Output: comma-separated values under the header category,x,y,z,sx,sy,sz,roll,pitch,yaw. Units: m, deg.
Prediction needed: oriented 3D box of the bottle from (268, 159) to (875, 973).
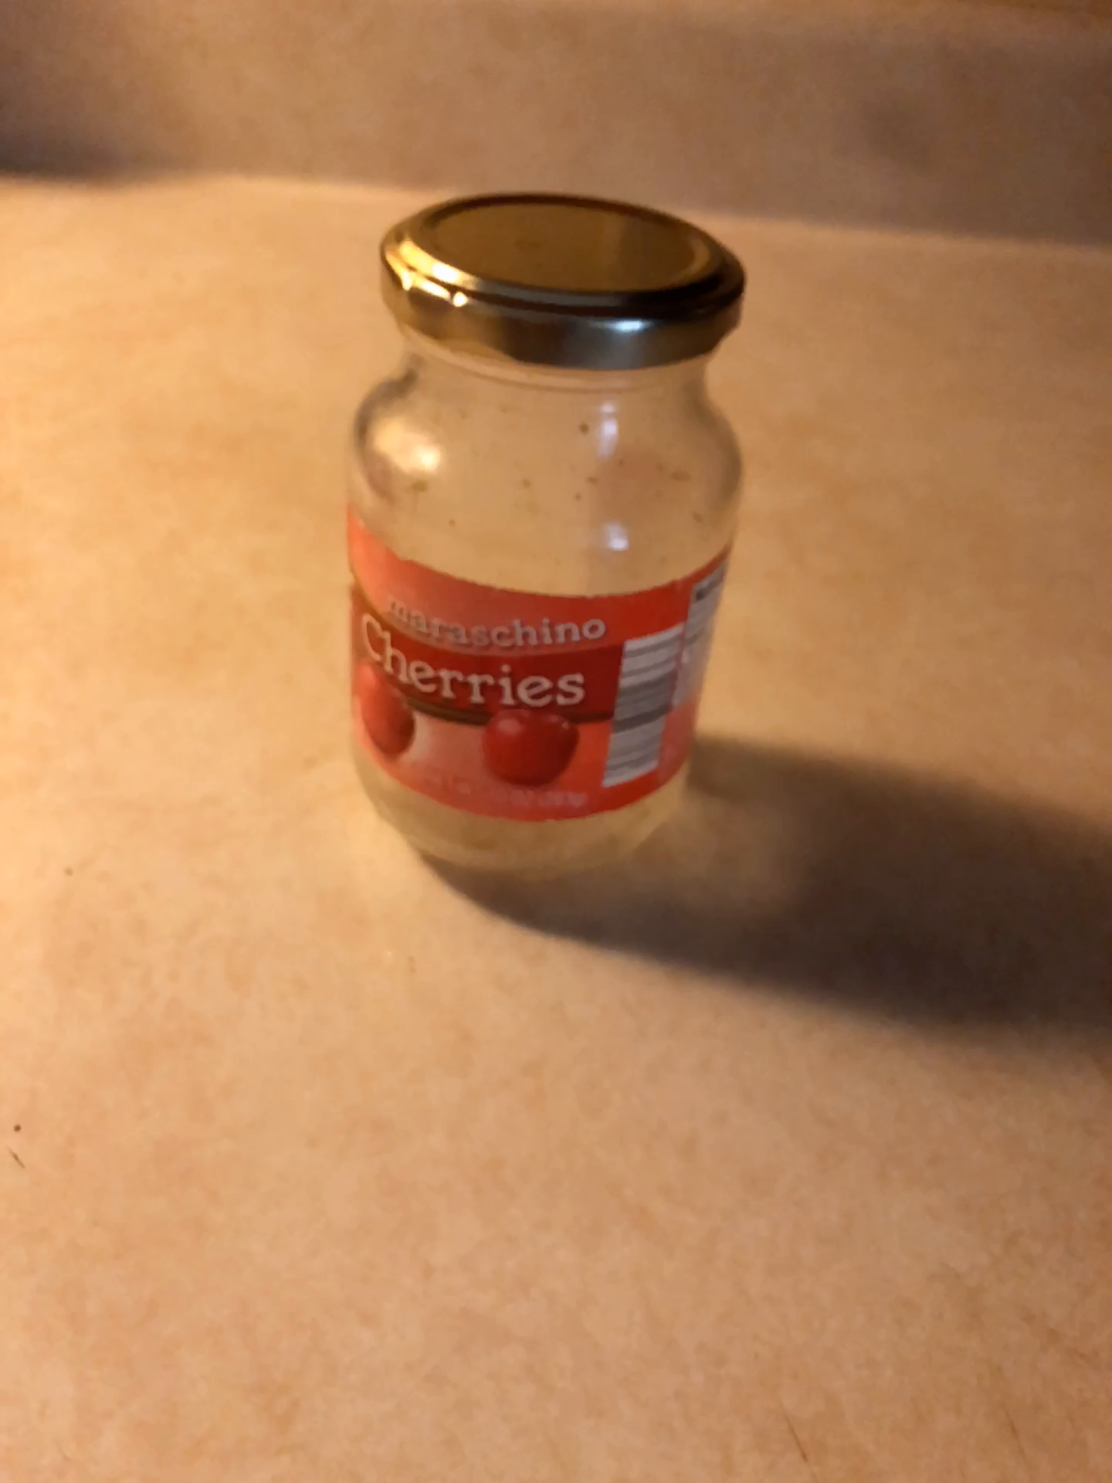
category,x,y,z,sx,sy,sz,roll,pitch,yaw
bottle,0.002,-0.032,0.226,0.070,0.110,0.070,4,38,-3
